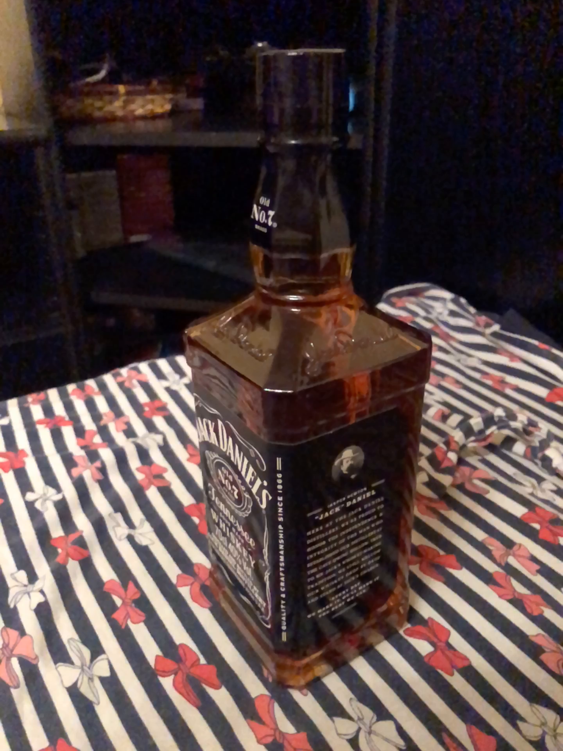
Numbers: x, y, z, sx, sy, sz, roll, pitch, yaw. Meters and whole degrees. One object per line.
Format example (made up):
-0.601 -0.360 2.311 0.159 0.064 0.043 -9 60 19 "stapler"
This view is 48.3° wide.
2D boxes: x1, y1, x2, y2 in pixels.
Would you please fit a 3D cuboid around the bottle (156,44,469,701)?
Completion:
0.010 0.004 0.258 0.073 0.246 0.075 -1 26 1 "bottle"
